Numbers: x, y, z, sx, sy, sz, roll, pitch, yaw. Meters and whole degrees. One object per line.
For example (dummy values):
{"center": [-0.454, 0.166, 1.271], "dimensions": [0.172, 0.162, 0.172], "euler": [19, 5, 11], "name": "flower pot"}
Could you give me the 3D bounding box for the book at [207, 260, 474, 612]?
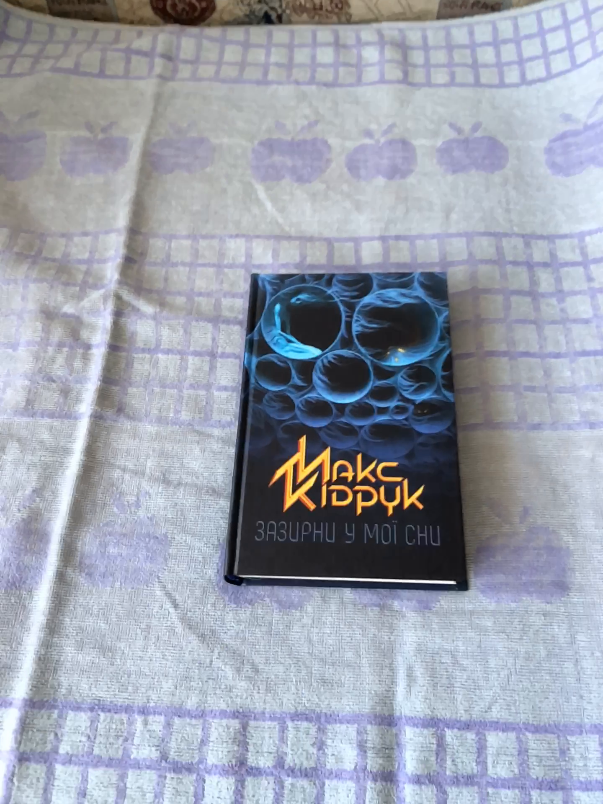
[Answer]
{"center": [0.026, 0.011, 0.415], "dimensions": [0.140, 0.036, 0.221], "euler": [1, 63, 5], "name": "book"}
